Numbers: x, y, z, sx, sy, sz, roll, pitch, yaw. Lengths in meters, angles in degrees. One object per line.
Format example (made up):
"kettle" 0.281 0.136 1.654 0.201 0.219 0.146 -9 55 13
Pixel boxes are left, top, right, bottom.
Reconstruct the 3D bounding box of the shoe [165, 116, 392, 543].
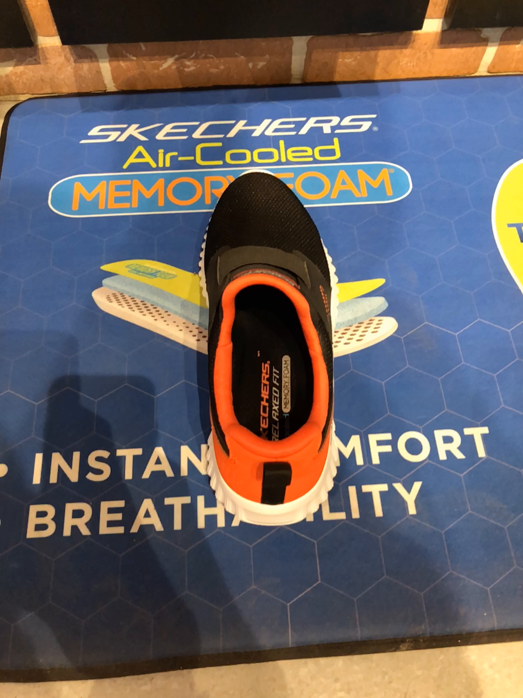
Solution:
"shoe" 0.004 -0.015 0.419 0.116 0.136 0.277 -1 63 -1
